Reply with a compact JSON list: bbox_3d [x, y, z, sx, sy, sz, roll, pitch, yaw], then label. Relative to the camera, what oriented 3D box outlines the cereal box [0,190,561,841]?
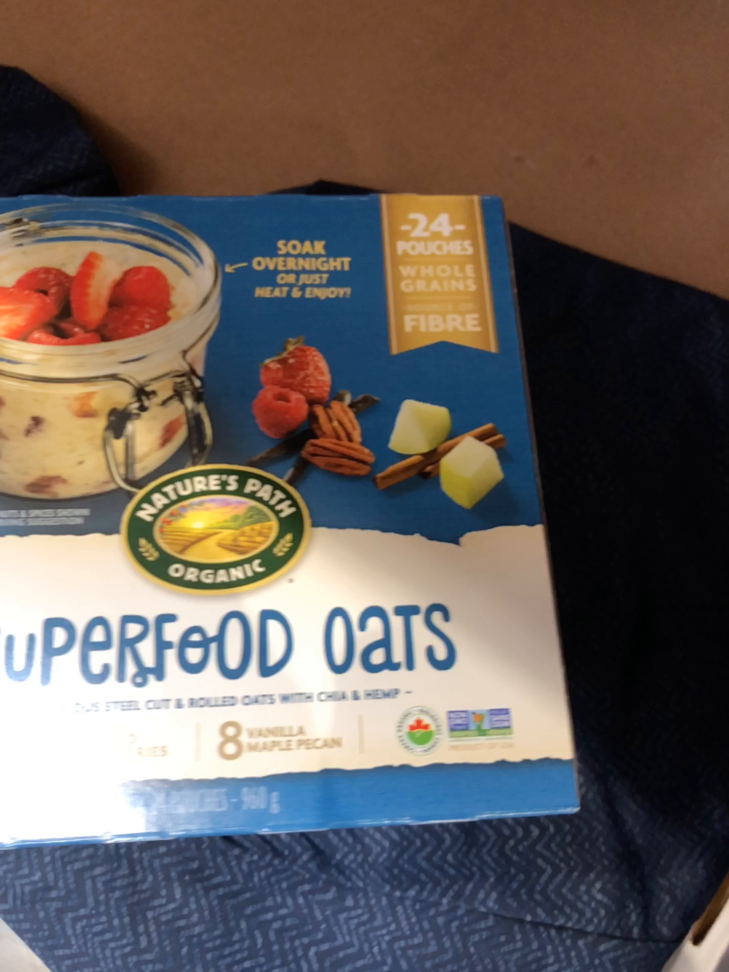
[{"bbox_3d":[-0.073,0.017,0.369,0.250,0.150,0.240,-2,70,-6],"label":"cereal box"}]
